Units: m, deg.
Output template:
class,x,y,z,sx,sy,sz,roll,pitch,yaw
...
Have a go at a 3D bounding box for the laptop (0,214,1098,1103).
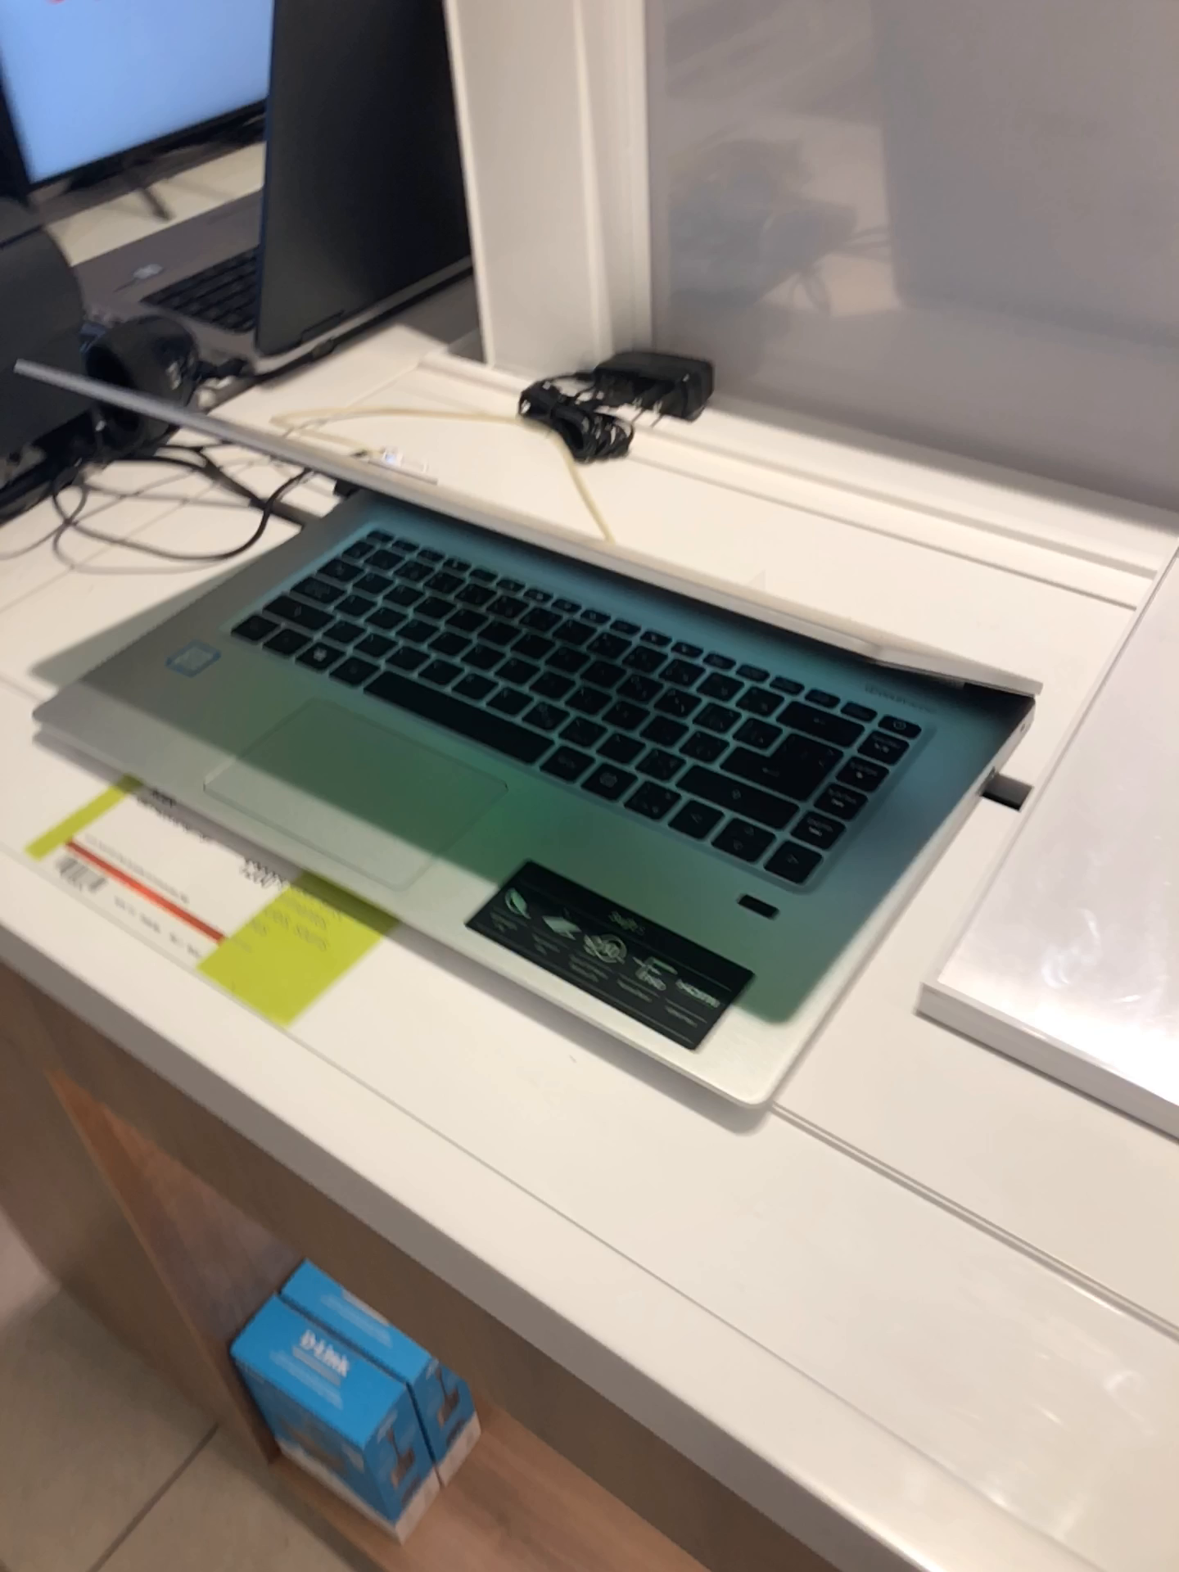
class,x,y,z,sx,sy,sz,roll,pitch,yaw
laptop,-0.033,-0.081,0.489,0.347,0.132,0.217,24,50,27
